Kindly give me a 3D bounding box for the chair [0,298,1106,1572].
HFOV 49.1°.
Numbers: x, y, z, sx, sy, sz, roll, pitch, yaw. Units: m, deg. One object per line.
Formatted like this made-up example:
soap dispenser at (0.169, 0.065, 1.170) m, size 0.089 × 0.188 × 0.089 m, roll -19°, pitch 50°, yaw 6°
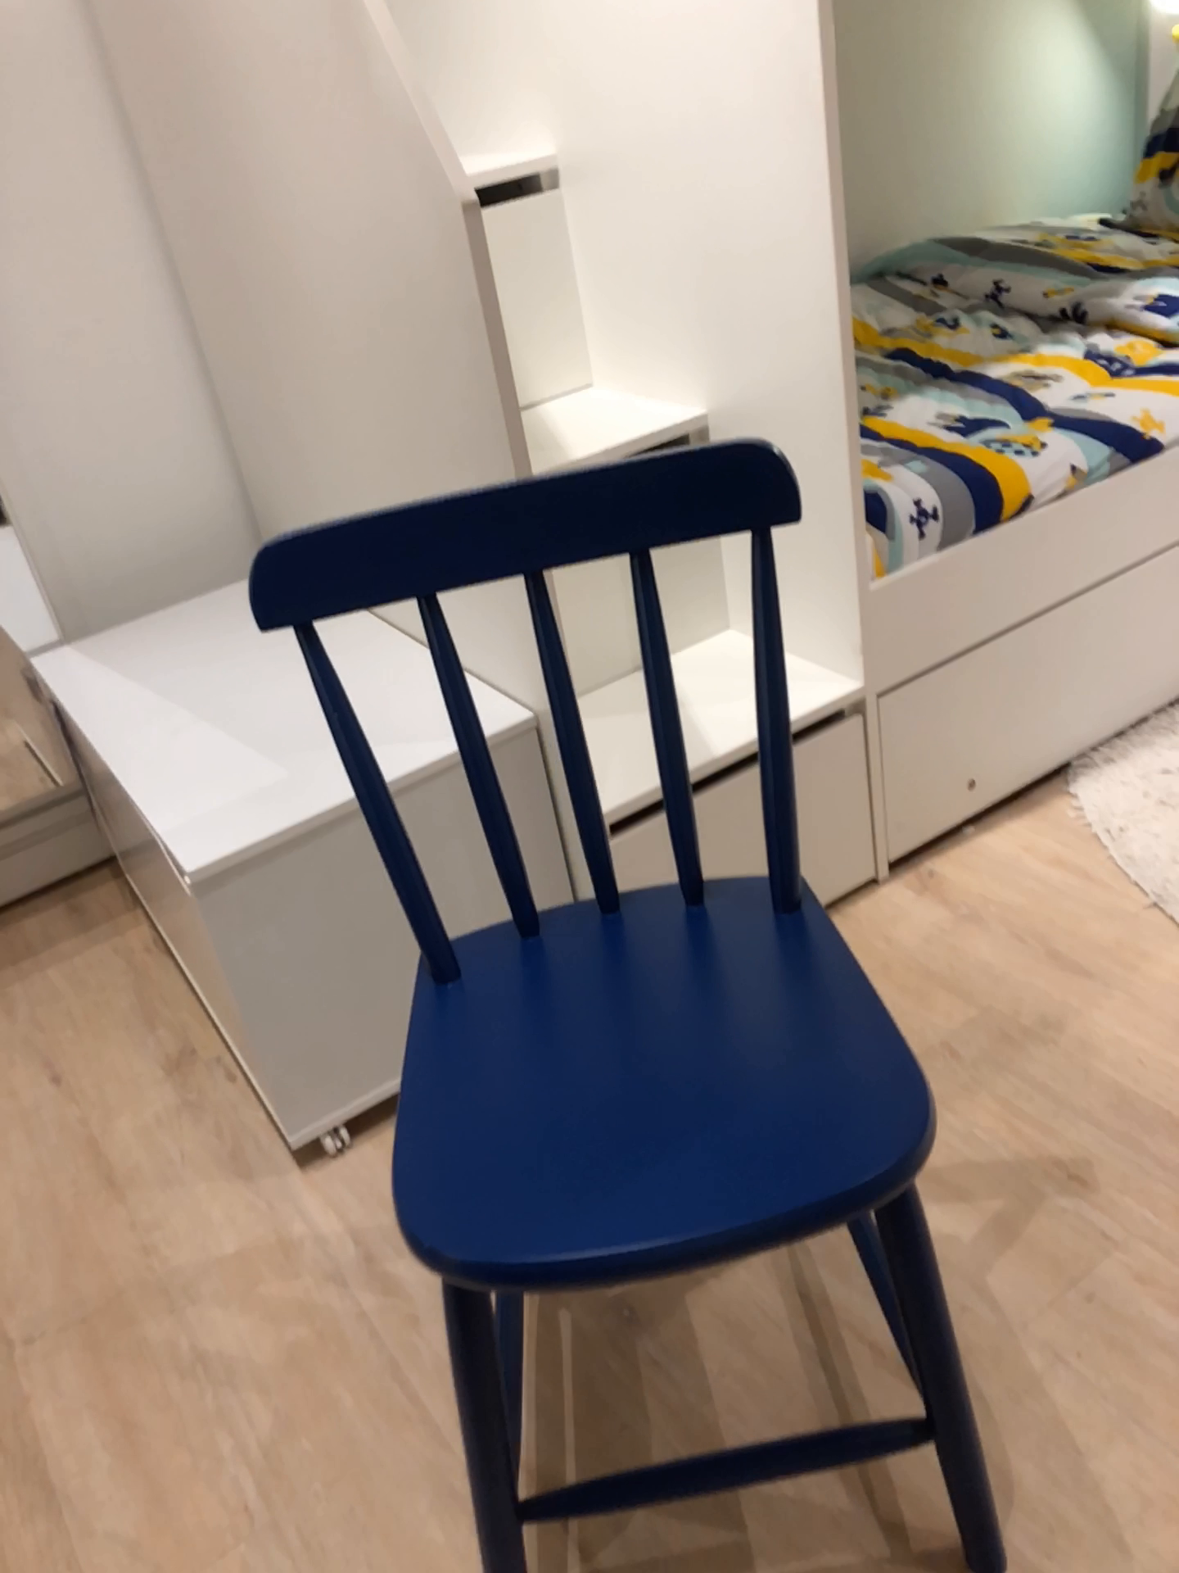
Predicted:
chair at (0.032, 0.150, 0.933) m, size 0.460 × 0.804 × 0.484 m, roll -11°, pitch 30°, yaw 0°
